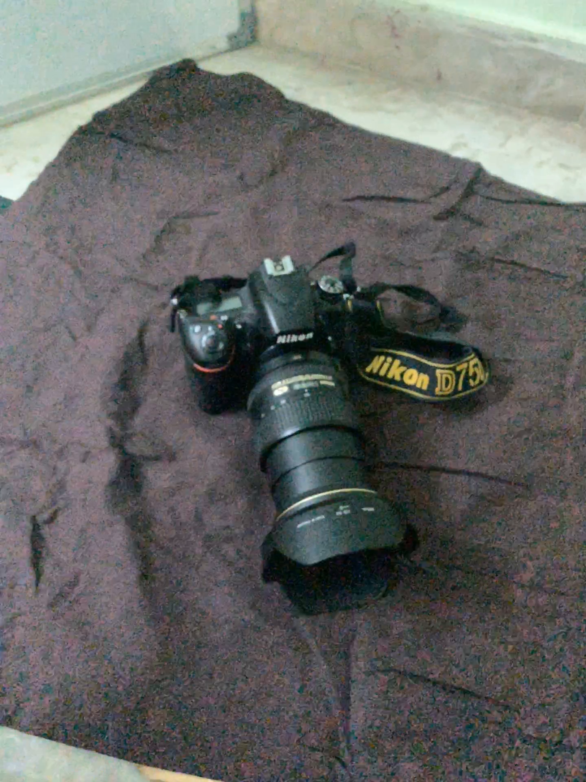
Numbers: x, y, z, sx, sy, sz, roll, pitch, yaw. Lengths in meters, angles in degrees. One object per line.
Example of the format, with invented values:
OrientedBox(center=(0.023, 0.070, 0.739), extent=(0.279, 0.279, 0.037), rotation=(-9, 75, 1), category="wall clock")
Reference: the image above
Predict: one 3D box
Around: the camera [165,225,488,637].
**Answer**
OrientedBox(center=(0.004, 0.014, 0.461), extent=(0.161, 0.100, 0.279), rotation=(-9, 57, -10), category="camera")
